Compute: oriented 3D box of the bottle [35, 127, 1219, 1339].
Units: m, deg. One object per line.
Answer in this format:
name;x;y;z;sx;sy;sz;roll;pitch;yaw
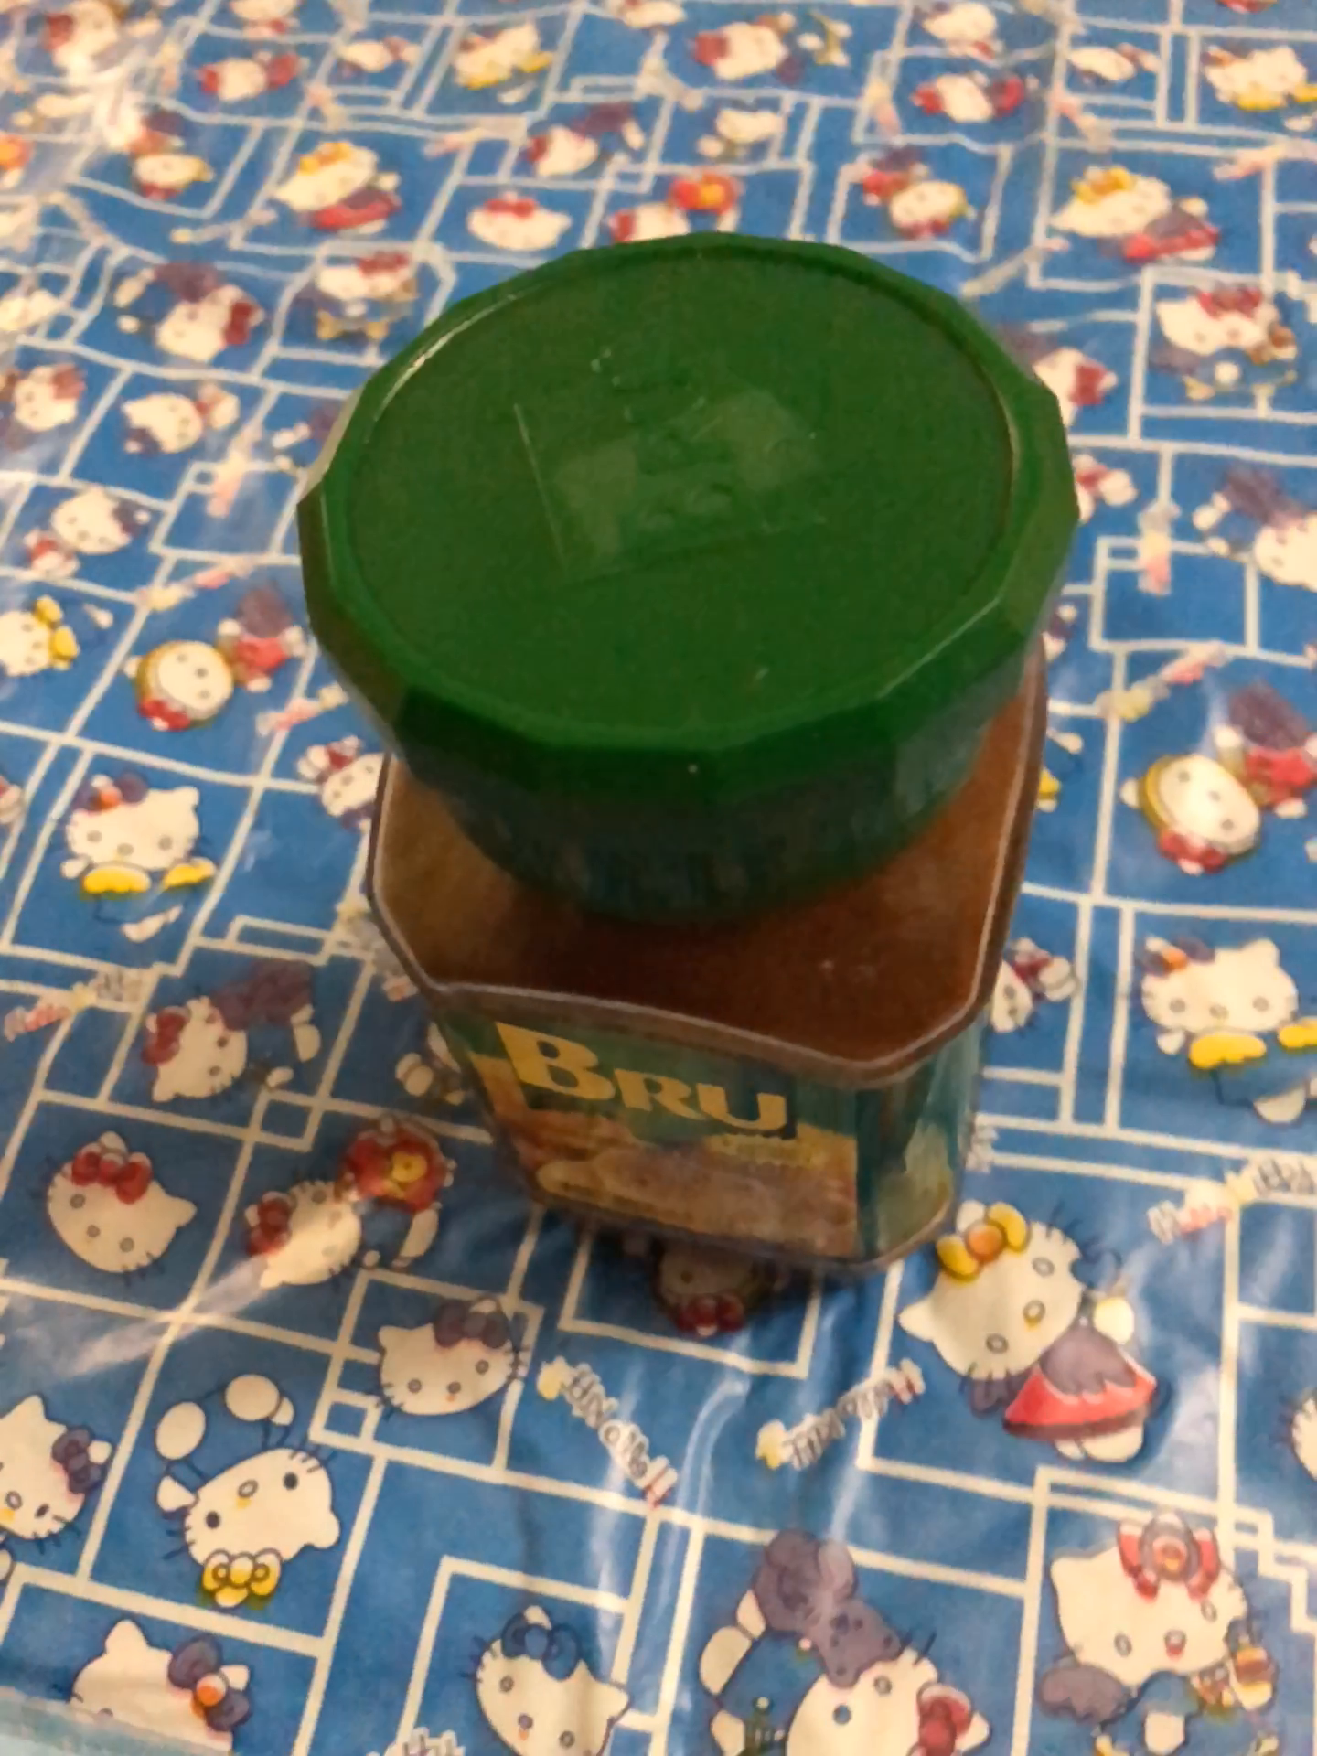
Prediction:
bottle;0.007;-0.006;0.171;0.080;0.120;0.070;11;61;13
